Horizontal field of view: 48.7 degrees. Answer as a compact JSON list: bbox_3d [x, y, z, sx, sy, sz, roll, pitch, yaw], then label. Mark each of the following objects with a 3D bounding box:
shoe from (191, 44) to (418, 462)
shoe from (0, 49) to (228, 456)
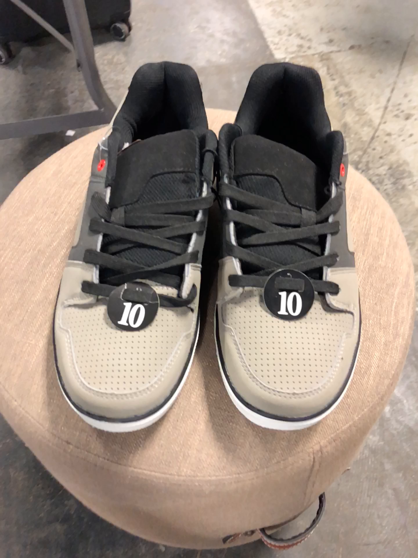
[{"bbox_3d":[0.059,-0.041,0.345,0.120,0.099,0.312,2,56,2],"label":"shoe"},{"bbox_3d":[-0.057,-0.030,0.327,0.120,0.119,0.262,4,56,3],"label":"shoe"}]
